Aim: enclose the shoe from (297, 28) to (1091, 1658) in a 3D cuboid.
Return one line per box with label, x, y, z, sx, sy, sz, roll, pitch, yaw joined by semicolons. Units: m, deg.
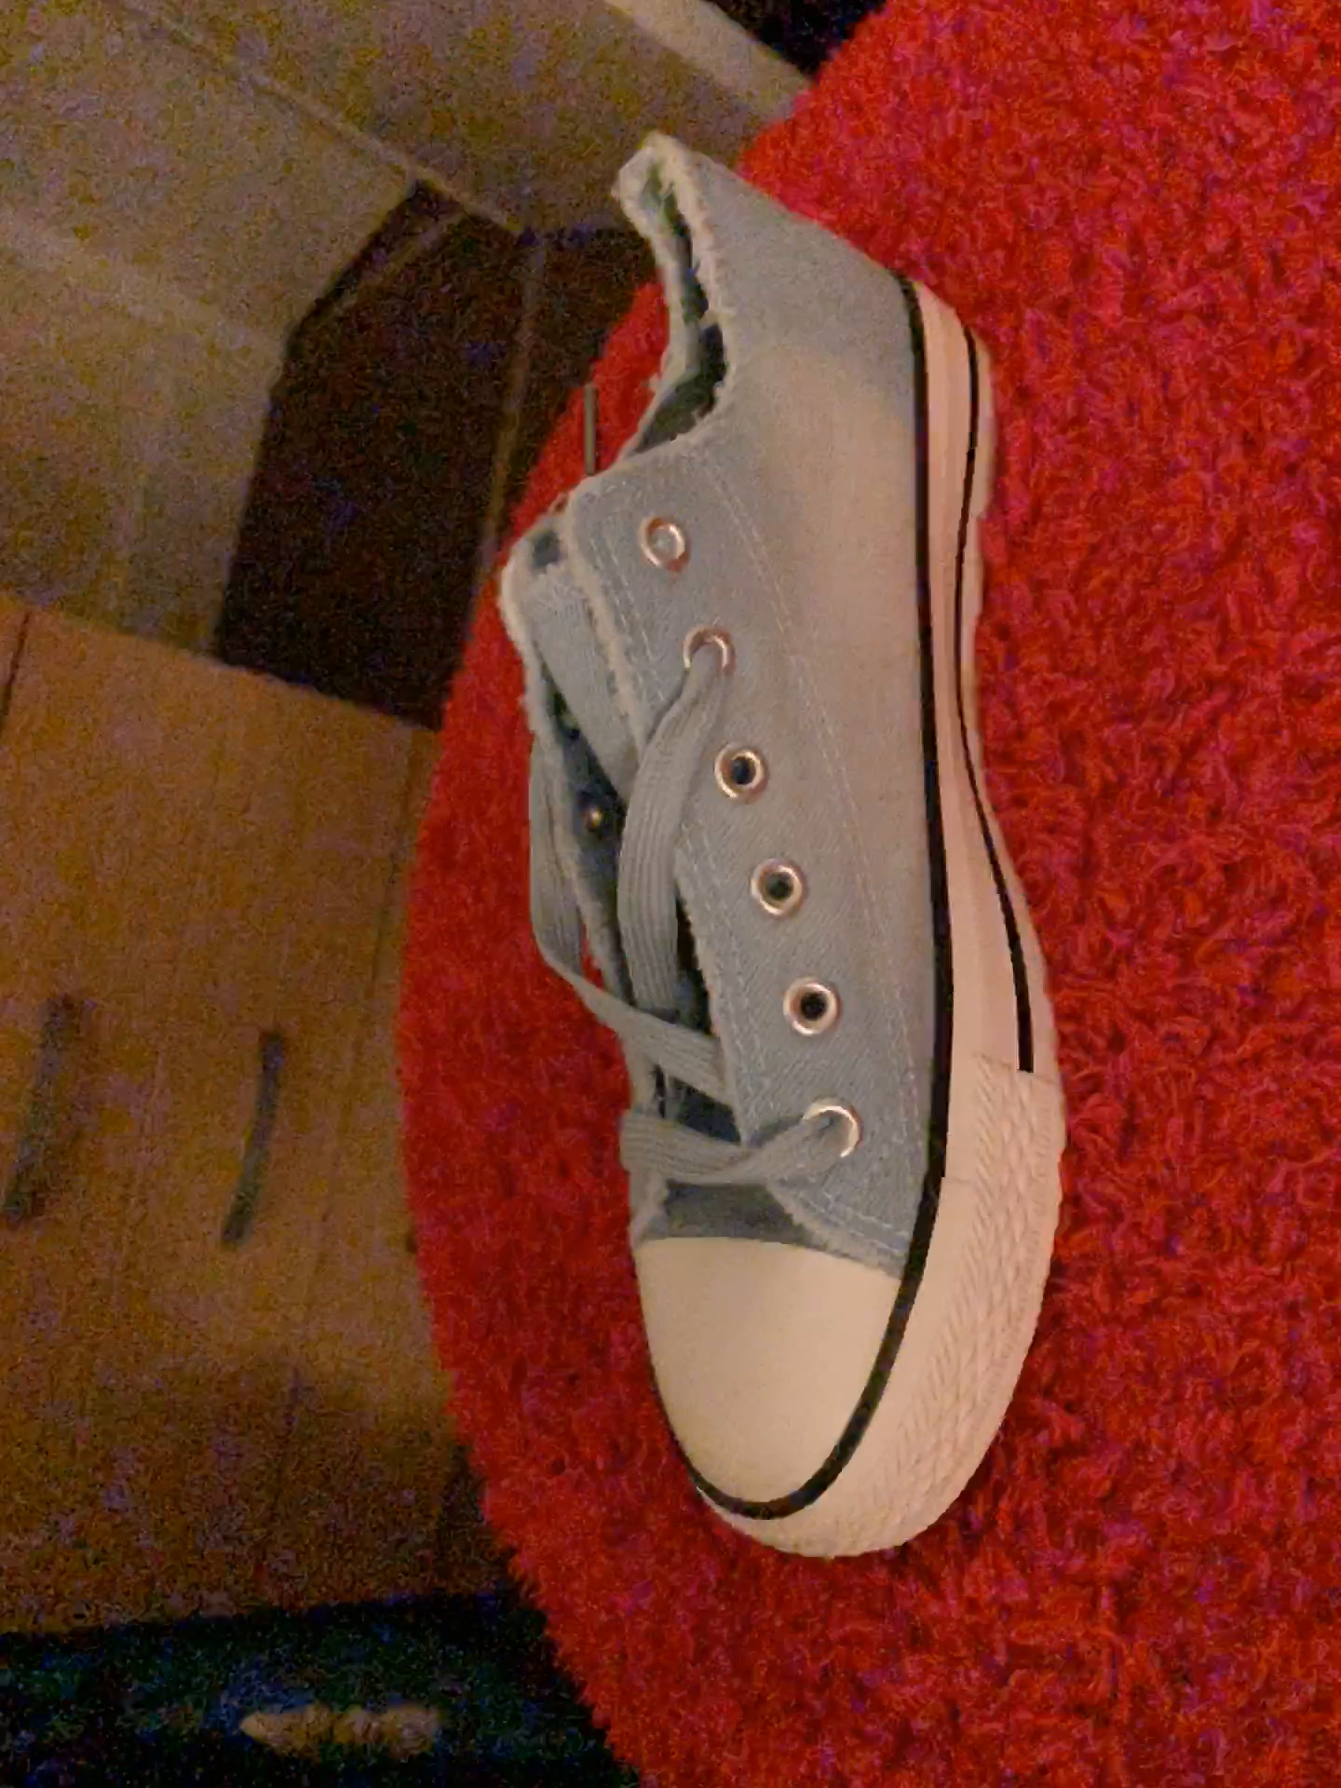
shoe;0.009;-0.010;0.263;0.098;0.086;0.250;-17;63;49
